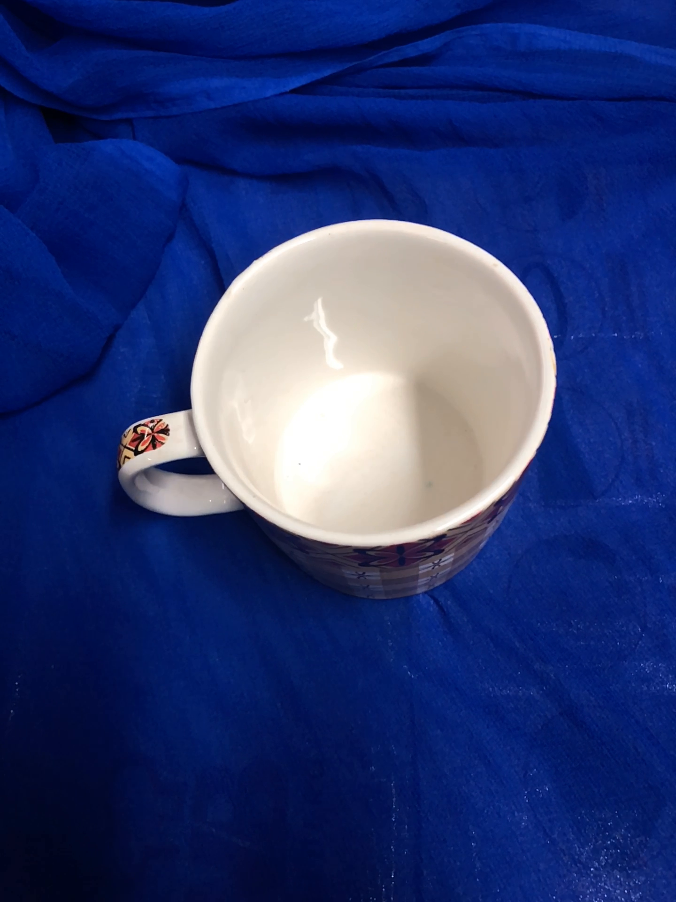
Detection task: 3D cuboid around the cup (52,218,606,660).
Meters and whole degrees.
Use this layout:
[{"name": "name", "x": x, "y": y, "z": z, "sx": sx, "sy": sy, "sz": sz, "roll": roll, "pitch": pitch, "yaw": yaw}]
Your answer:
[{"name": "cup", "x": -0.005, "y": 0.006, "z": 0.196, "sx": 0.100, "sy": 0.100, "sz": 0.070, "roll": -8, "pitch": 70, "yaw": -2}]
